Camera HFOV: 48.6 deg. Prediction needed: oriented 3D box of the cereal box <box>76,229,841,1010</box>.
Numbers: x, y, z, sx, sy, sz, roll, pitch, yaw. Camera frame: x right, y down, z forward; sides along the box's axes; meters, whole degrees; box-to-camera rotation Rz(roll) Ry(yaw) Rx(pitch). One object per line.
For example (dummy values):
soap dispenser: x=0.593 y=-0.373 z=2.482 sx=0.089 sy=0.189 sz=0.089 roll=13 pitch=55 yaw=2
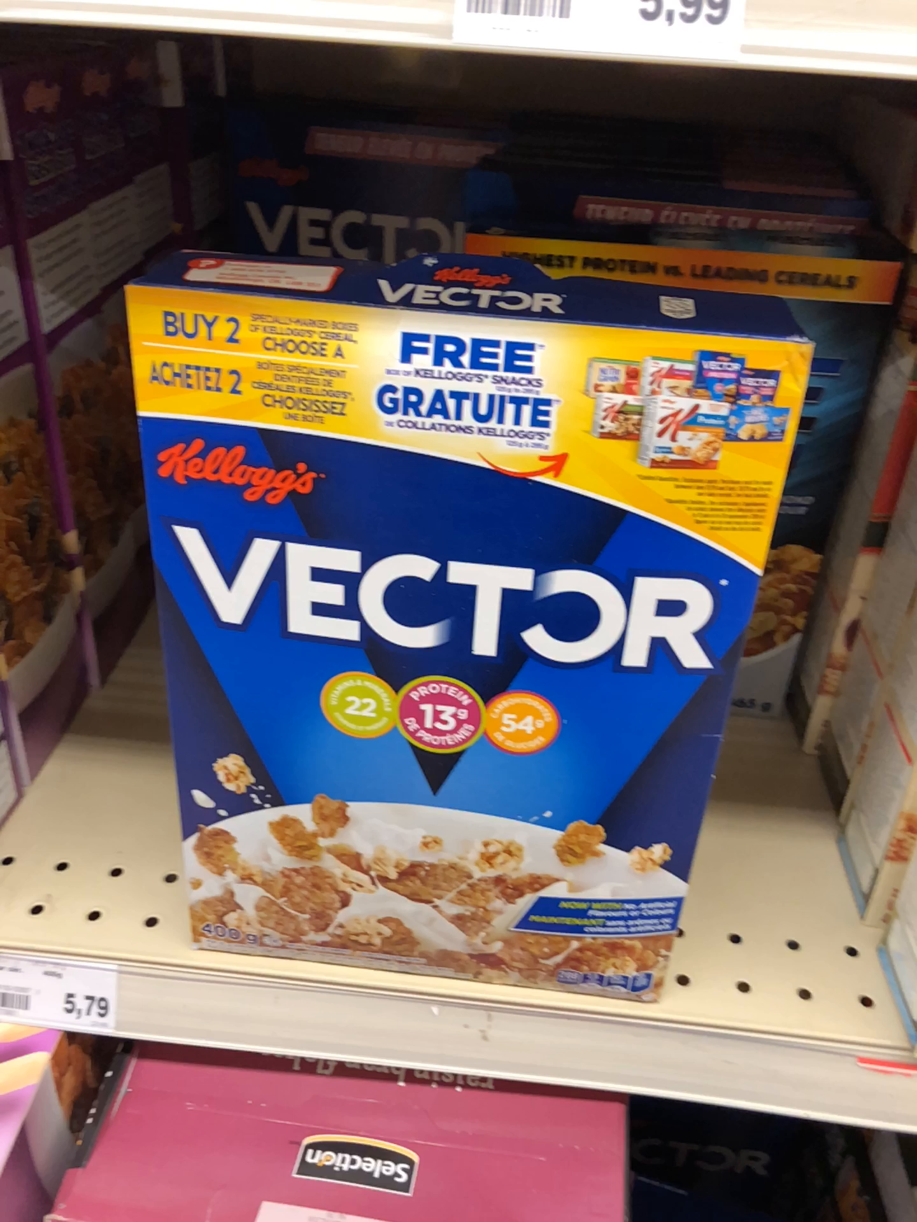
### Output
cereal box: x=-0.006 y=0.019 z=0.360 sx=0.200 sy=0.268 sz=0.060 roll=6 pitch=32 yaw=3
